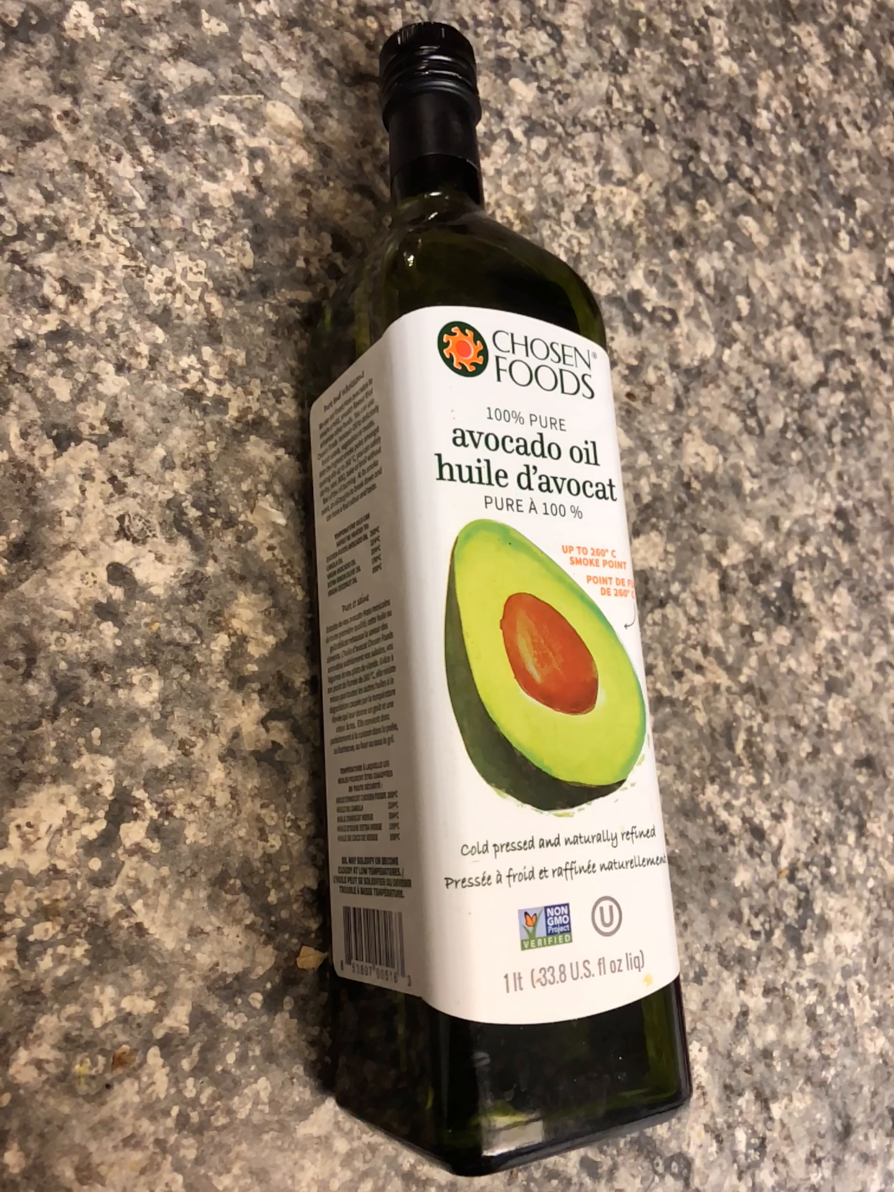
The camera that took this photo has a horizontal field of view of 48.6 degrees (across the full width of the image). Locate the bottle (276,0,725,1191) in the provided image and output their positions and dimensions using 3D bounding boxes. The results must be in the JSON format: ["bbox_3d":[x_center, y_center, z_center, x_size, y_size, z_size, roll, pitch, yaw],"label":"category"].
[{"bbox_3d":[0.006,-0.024,0.278,0.080,0.070,0.320,3,77,-29],"label":"bottle"}]
